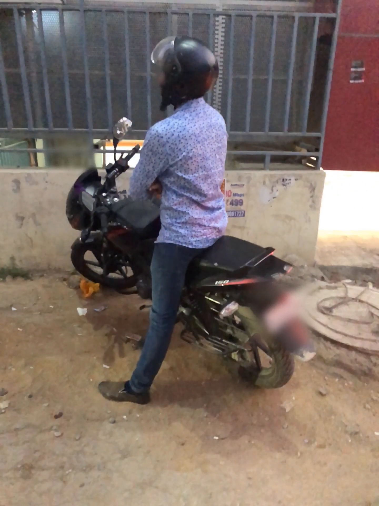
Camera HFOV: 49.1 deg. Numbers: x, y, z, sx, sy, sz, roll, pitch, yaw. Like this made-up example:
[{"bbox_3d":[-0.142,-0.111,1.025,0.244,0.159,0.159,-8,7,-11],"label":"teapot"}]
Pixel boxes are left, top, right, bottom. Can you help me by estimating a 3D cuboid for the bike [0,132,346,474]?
[{"bbox_3d":[-0.262,0.028,2.313,1.805,1.145,0.748,21,28,39],"label":"bike"}]
